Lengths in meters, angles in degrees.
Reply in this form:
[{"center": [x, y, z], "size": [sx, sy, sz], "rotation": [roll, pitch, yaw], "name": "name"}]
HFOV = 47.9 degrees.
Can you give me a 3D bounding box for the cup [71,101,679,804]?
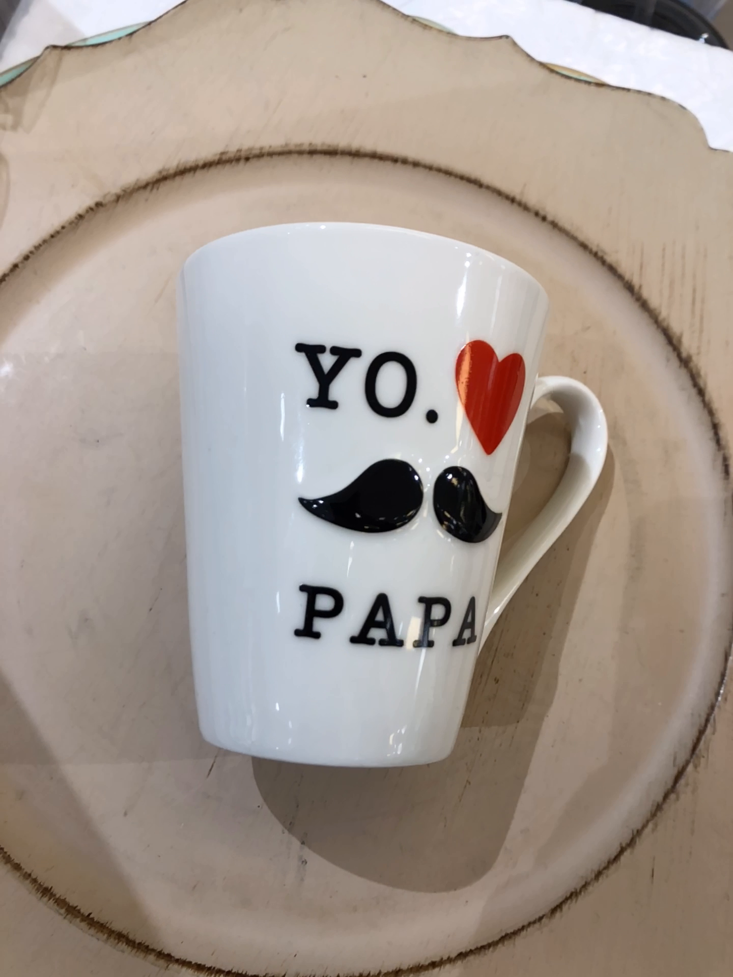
[{"center": [-0.002, 0.001, 0.203], "size": [0.110, 0.090, 0.120], "rotation": [2, 87, -26], "name": "cup"}]
